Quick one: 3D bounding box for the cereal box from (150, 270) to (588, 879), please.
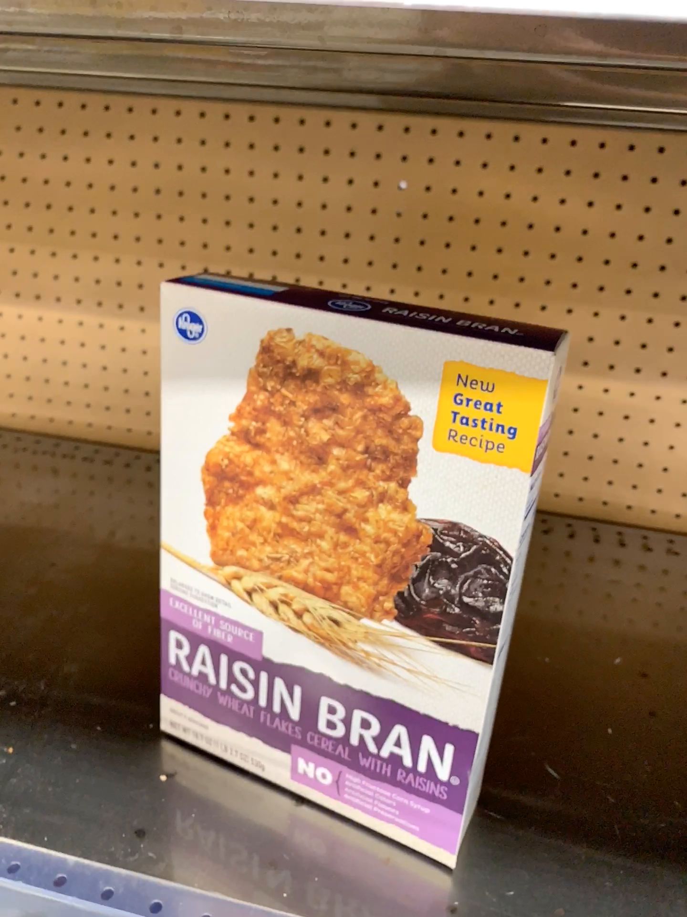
[{"bbox_3d":[-0.005,0.056,0.367,0.190,0.269,0.050,14,23,21],"label":"cereal box"}]
